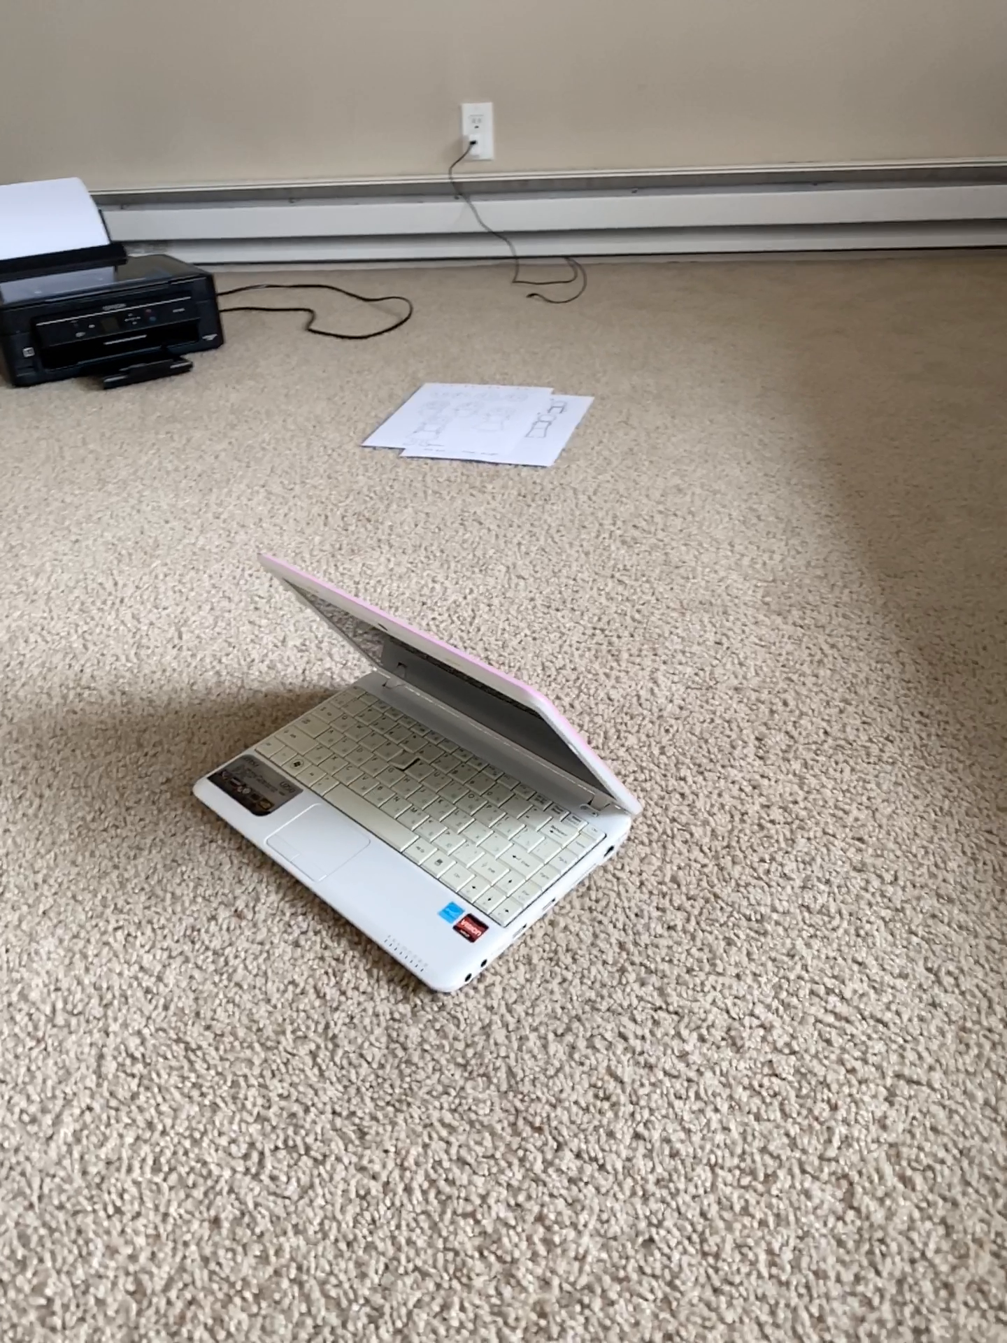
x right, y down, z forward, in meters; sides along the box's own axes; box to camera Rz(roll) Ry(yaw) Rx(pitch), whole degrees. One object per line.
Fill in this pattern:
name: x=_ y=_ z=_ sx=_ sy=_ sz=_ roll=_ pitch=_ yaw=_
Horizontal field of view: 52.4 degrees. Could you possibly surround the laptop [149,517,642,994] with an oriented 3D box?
laptop: x=-0.077 y=0.035 z=0.716 sx=0.287 sy=0.147 sz=0.188 roll=26 pitch=45 yaw=37
